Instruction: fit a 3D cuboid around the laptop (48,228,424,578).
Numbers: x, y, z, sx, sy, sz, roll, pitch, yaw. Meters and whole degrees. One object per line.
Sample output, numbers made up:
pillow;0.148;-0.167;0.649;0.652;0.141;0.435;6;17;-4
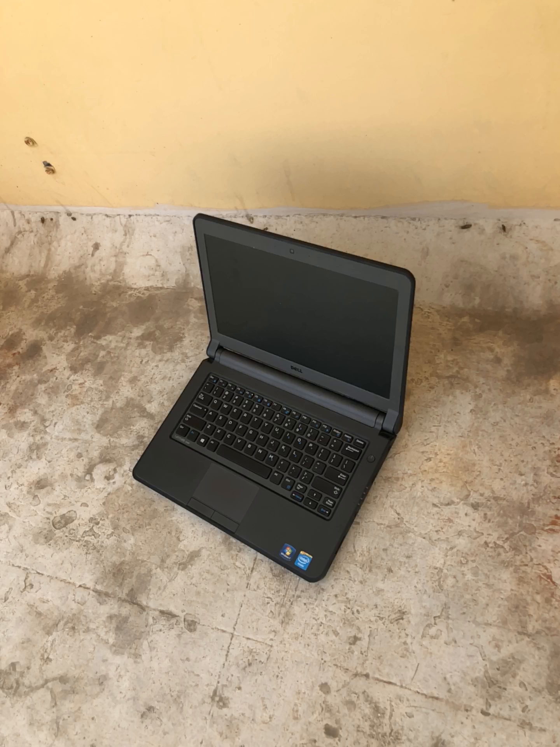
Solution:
laptop;-0.037;0.025;0.769;0.309;0.208;0.299;22;68;30
